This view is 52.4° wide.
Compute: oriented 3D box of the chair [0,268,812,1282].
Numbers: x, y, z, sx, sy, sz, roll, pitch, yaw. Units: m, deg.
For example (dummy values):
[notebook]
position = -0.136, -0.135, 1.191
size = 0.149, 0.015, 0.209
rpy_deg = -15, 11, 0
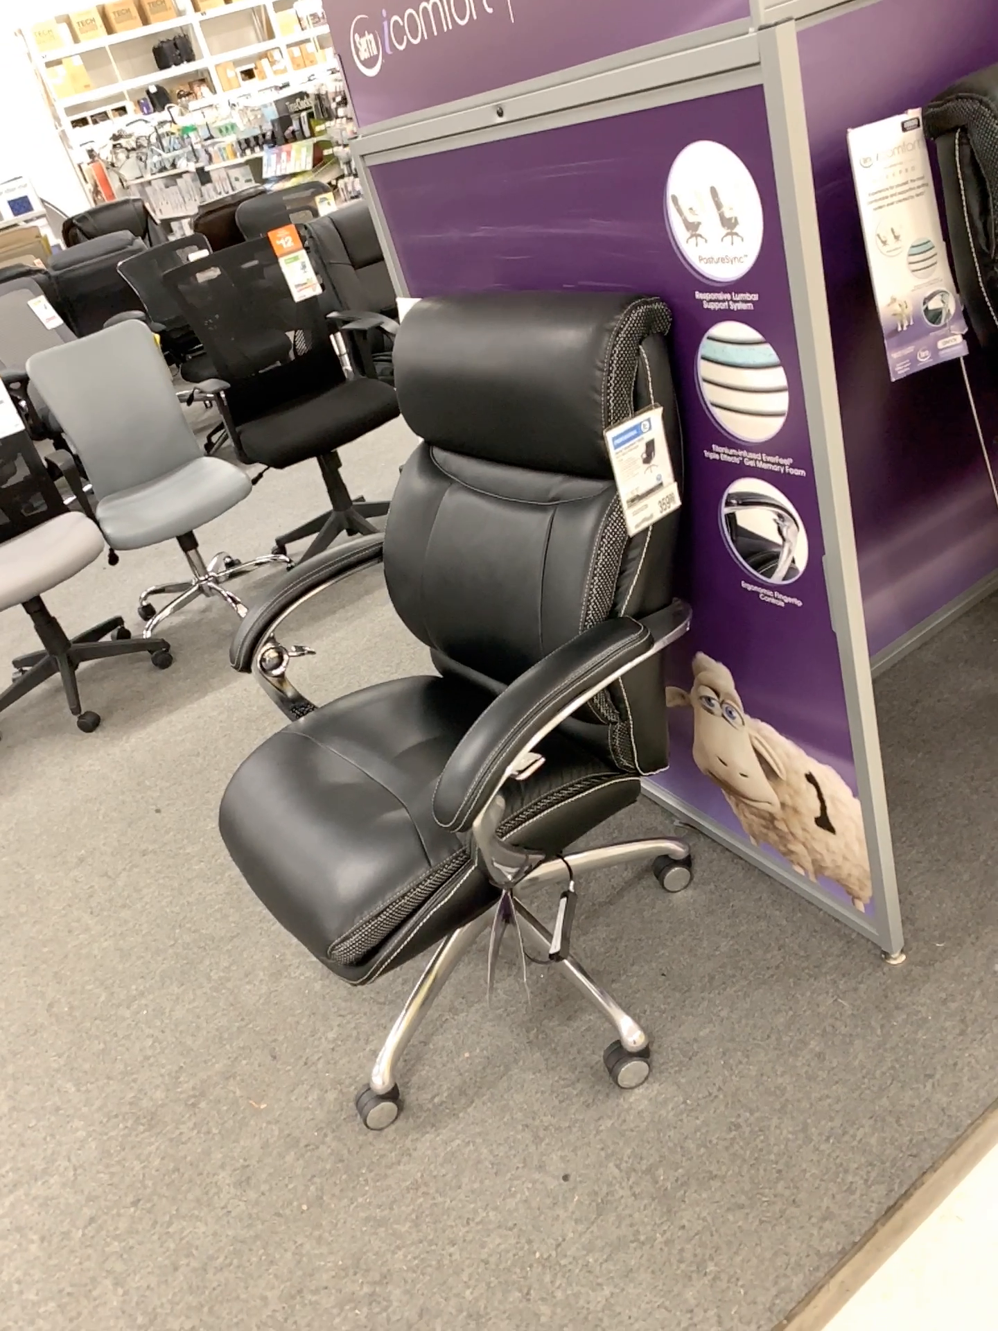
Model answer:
[chair]
position = -0.166, 0.053, 1.415
size = 0.720, 0.955, 0.774
rpy_deg = -30, 32, -20
